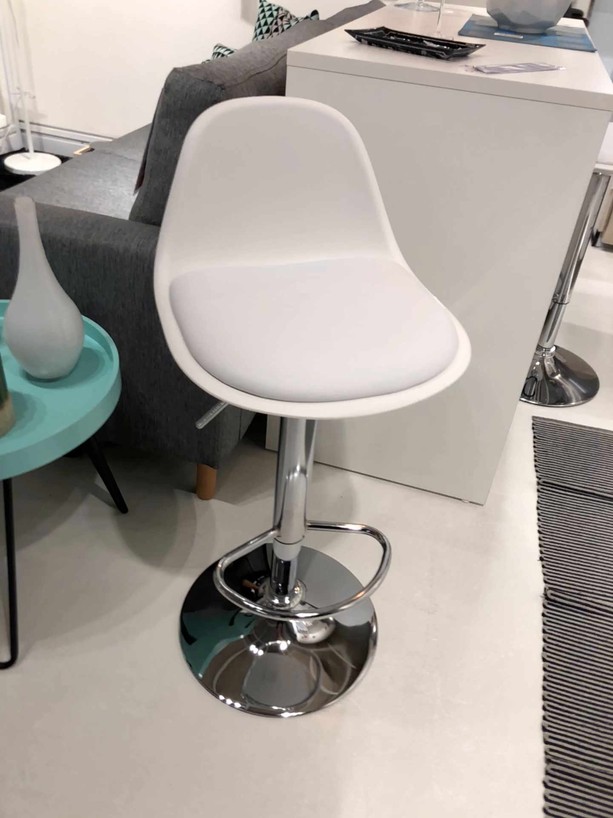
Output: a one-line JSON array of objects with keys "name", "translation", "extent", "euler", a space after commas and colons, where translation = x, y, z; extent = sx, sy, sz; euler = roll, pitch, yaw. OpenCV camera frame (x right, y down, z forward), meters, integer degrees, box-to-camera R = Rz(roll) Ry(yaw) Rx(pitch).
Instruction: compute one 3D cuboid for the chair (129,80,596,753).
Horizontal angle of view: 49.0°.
[{"name": "chair", "translation": [-0.012, 0.044, 1.006], "extent": [0.411, 0.883, 0.423], "euler": [-5, 38, -14]}]
